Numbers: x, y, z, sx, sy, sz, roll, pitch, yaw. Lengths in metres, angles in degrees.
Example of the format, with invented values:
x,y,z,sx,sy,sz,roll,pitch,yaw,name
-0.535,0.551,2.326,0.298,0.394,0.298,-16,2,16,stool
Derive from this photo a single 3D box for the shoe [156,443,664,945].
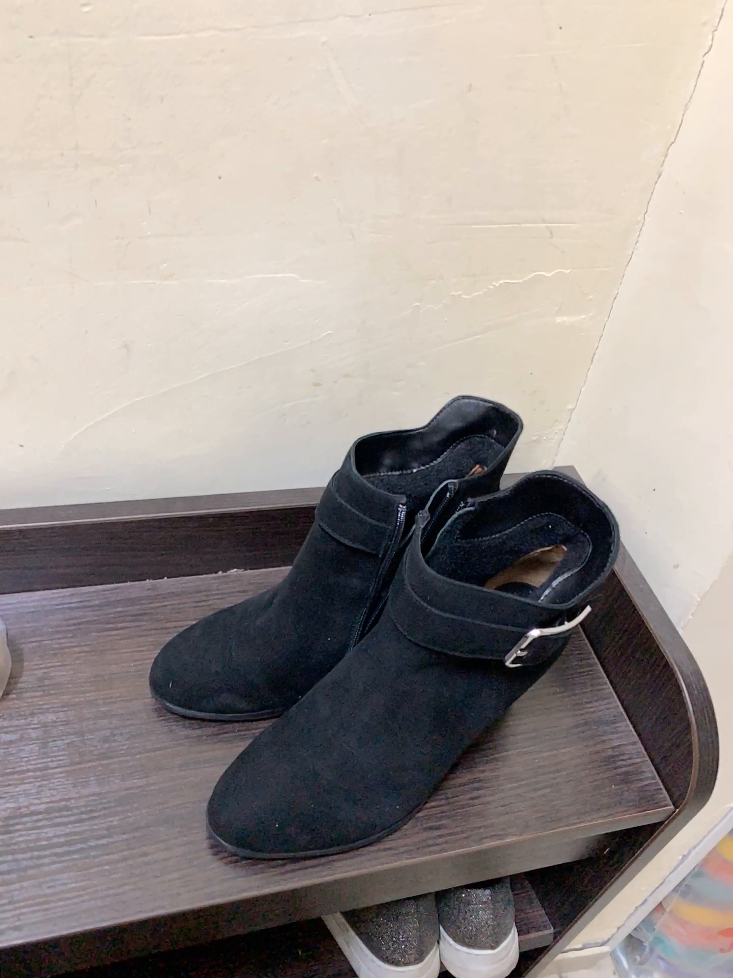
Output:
x,y,z,sx,sy,sz,roll,pitch,yaw,name
0.020,0.106,0.418,0.240,0.189,0.088,-20,49,-30,shoe

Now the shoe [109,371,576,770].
x,y,z,sx,sy,sz,roll,pitch,yaw,name
-0.019,0.047,0.469,0.240,0.189,0.089,-13,46,-24,shoe
